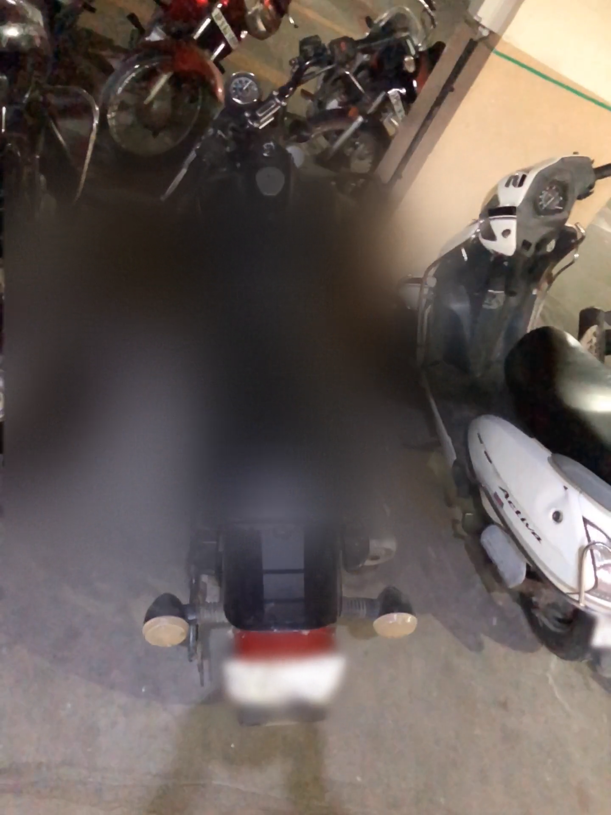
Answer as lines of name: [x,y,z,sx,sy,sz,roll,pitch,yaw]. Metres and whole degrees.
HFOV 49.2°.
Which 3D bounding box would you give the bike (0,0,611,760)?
bike: [-0.214,-0.309,1.581,0.863,1.251,1.676,13,43,-25]
